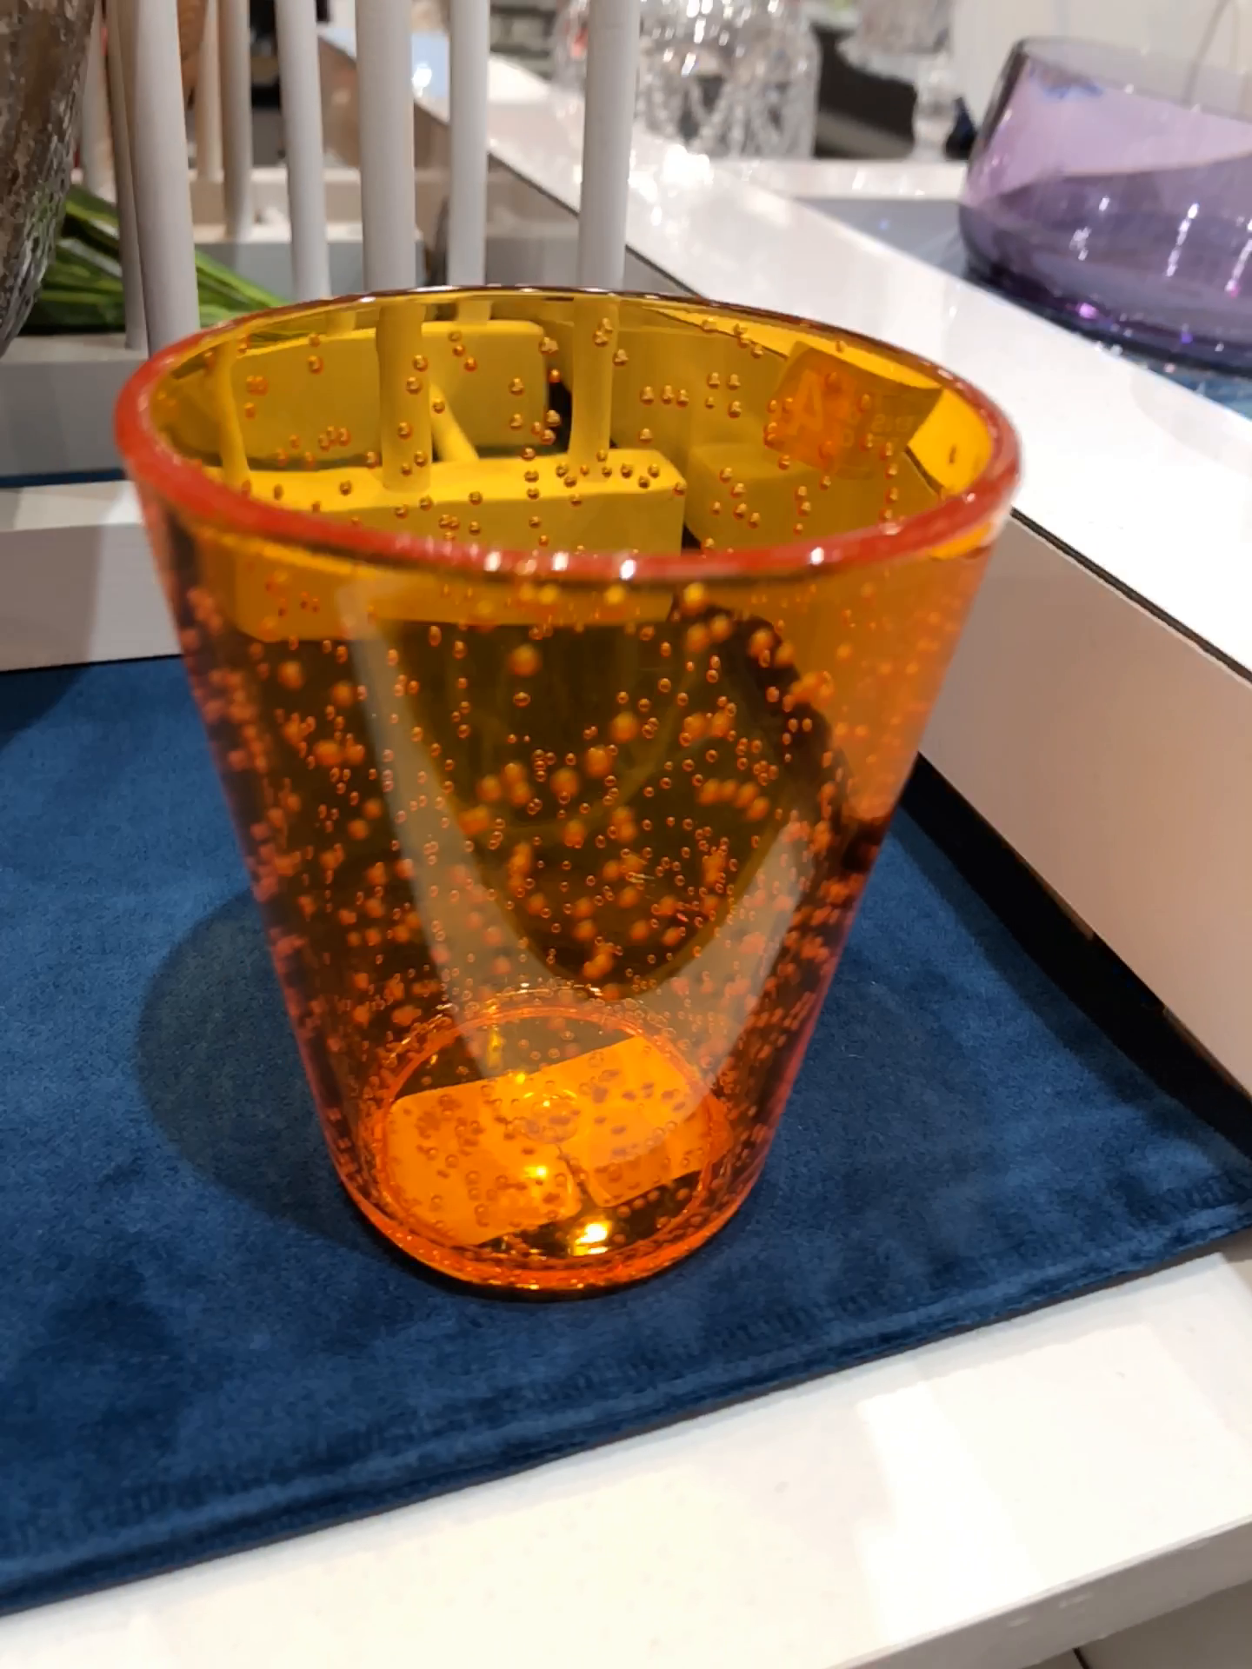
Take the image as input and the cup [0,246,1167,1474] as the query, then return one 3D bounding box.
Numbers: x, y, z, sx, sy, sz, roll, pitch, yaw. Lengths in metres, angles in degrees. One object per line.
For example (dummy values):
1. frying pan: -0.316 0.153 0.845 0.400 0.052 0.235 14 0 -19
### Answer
1. cup: -0.010 -0.005 0.149 0.080 0.090 0.070 -16 40 -29
